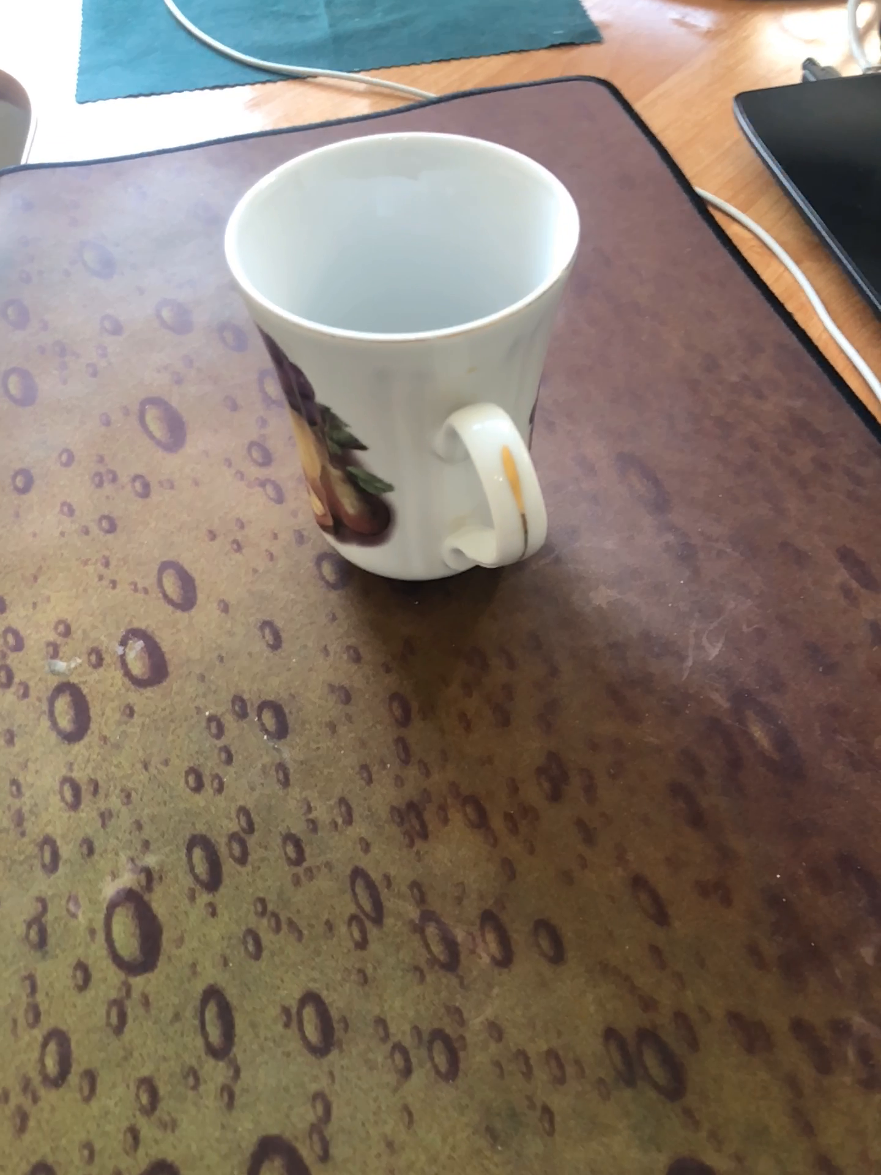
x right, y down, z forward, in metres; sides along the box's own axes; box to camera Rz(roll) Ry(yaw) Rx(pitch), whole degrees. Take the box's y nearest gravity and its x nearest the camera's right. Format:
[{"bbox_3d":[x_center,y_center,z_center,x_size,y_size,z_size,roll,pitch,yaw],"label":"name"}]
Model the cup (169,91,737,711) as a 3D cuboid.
[{"bbox_3d":[-0.003,-0.046,0.227,0.080,0.080,0.100,-19,54,-14],"label":"cup"}]
